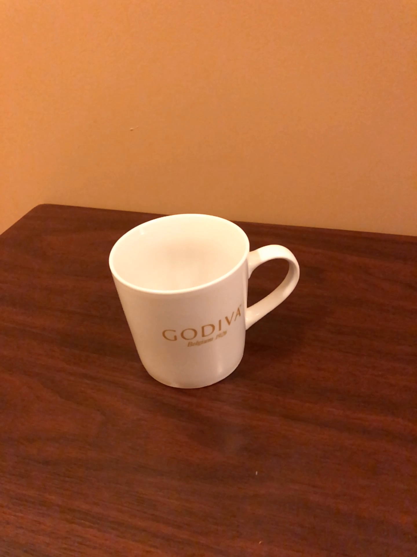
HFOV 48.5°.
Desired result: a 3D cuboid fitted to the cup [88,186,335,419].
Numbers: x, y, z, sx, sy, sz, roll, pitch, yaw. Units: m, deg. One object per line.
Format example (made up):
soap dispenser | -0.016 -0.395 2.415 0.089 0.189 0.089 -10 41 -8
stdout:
cup | 0.001 0.010 0.367 0.150 0.099 0.111 -18 37 -16
